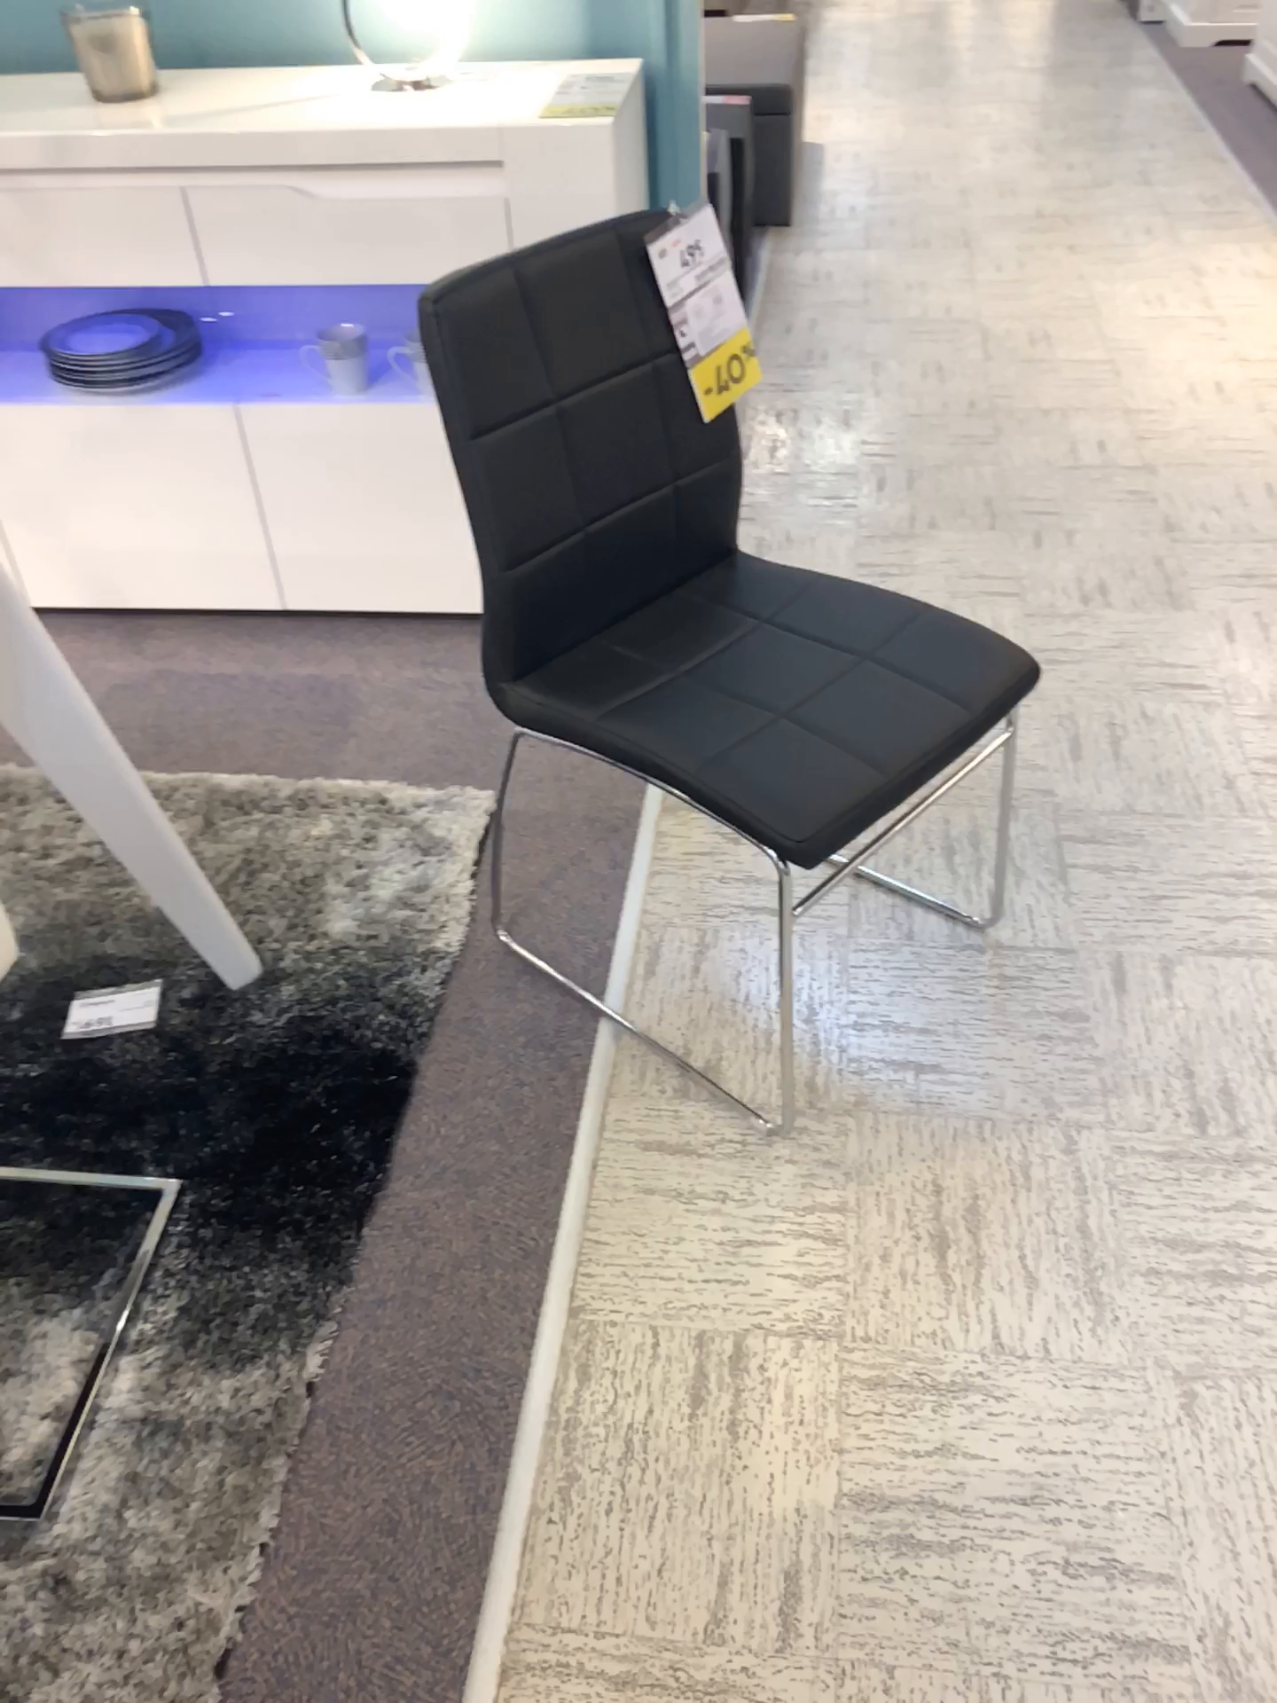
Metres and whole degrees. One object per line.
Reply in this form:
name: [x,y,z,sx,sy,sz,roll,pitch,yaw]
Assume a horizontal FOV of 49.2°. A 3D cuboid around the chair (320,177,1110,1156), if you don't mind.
chair: [0.095,-0.219,1.568,0.536,0.825,0.523,26,47,31]
